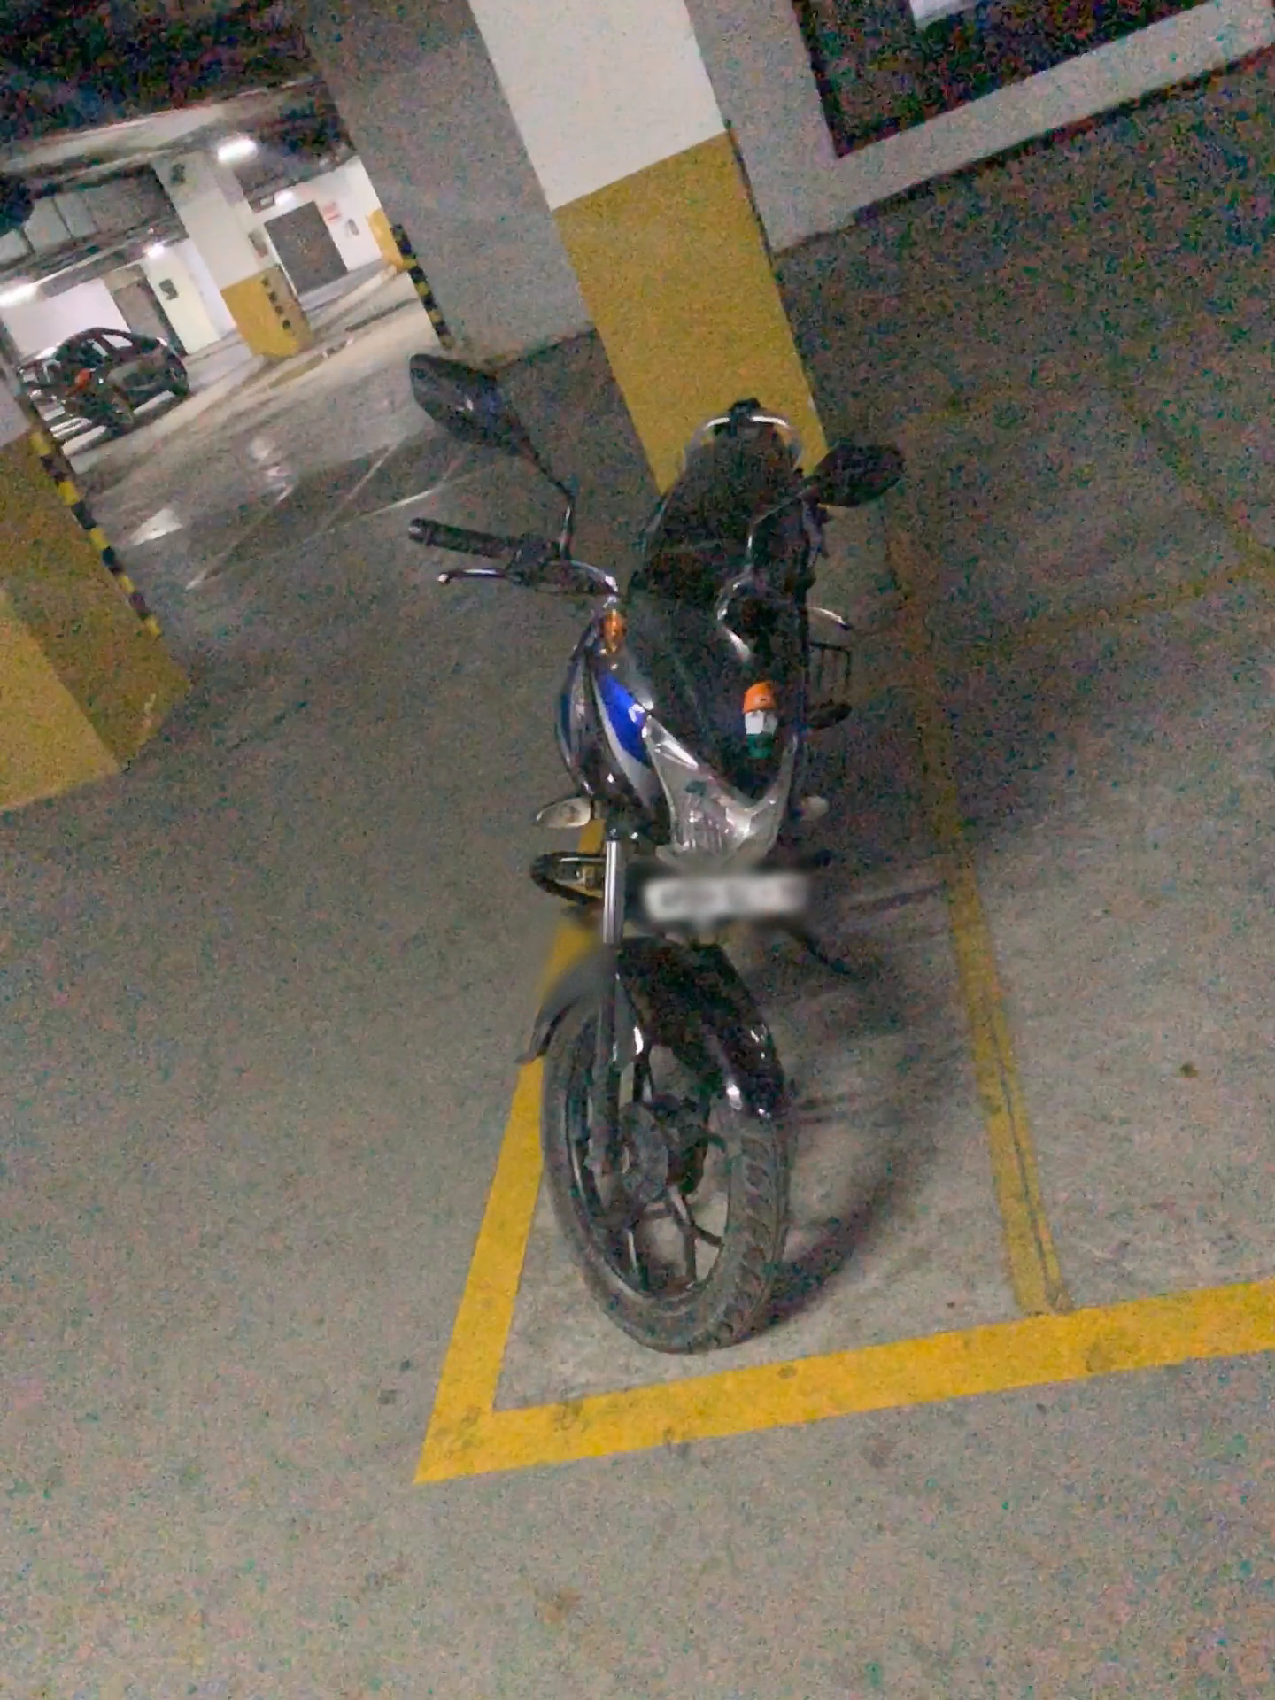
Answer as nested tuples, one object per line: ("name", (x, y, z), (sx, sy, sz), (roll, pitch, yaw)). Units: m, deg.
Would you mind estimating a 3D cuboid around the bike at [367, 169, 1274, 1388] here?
("bike", (0.396, -0.389, 2.404), (0.851, 1.205, 2.222), (-18, 28, 14))
